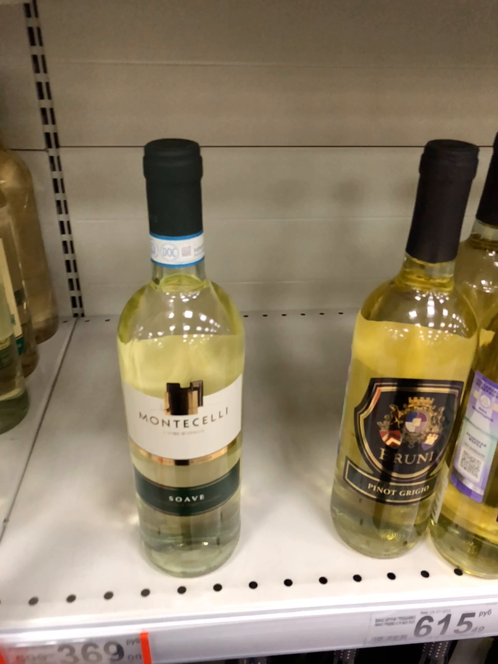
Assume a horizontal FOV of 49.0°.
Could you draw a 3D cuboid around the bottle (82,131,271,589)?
[{"bbox_3d":[-0.038,0.033,0.336,0.080,0.284,0.070,-3,31,-8],"label":"bottle"}]
